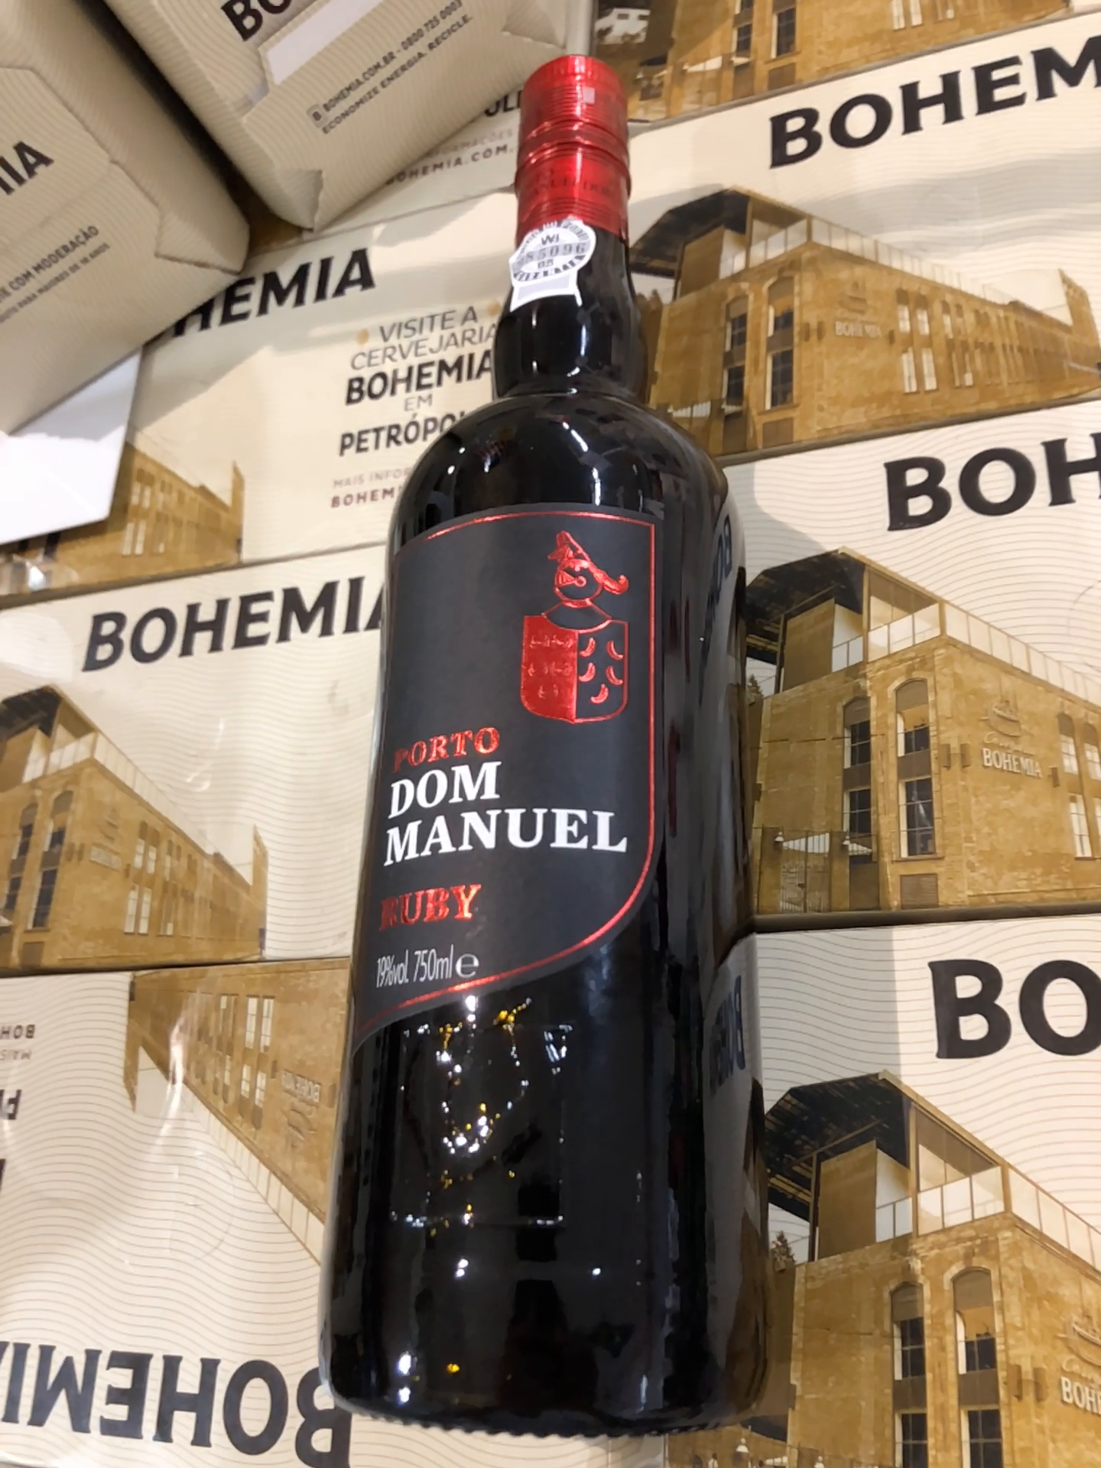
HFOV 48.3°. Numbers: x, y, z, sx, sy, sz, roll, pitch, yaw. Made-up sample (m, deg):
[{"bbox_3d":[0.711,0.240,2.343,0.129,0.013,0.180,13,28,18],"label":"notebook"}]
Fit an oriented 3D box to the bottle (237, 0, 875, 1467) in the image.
[{"bbox_3d":[0.009,-0.035,0.261,0.090,0.070,0.331,-5,68,14],"label":"bottle"}]
